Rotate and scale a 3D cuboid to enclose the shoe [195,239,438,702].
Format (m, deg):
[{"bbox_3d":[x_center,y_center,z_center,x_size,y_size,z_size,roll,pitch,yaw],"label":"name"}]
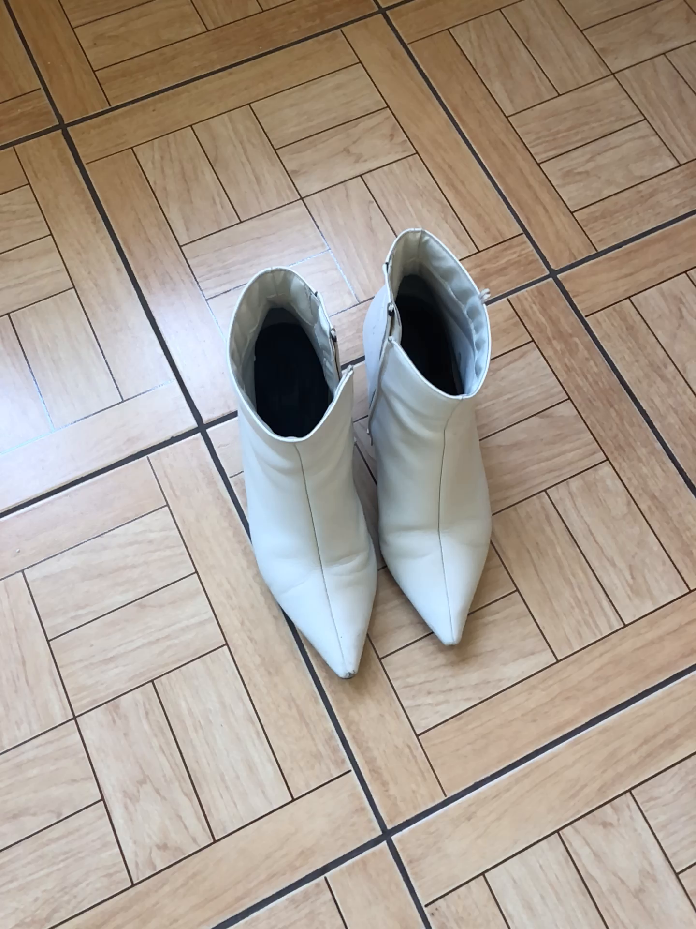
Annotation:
[{"bbox_3d":[-0.025,0.013,0.500,0.100,0.155,0.254,-8,72,-4],"label":"shoe"}]

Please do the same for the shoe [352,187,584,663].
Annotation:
[{"bbox_3d":[0.062,-0.017,0.511,0.100,0.155,0.274,-2,71,-2],"label":"shoe"}]
